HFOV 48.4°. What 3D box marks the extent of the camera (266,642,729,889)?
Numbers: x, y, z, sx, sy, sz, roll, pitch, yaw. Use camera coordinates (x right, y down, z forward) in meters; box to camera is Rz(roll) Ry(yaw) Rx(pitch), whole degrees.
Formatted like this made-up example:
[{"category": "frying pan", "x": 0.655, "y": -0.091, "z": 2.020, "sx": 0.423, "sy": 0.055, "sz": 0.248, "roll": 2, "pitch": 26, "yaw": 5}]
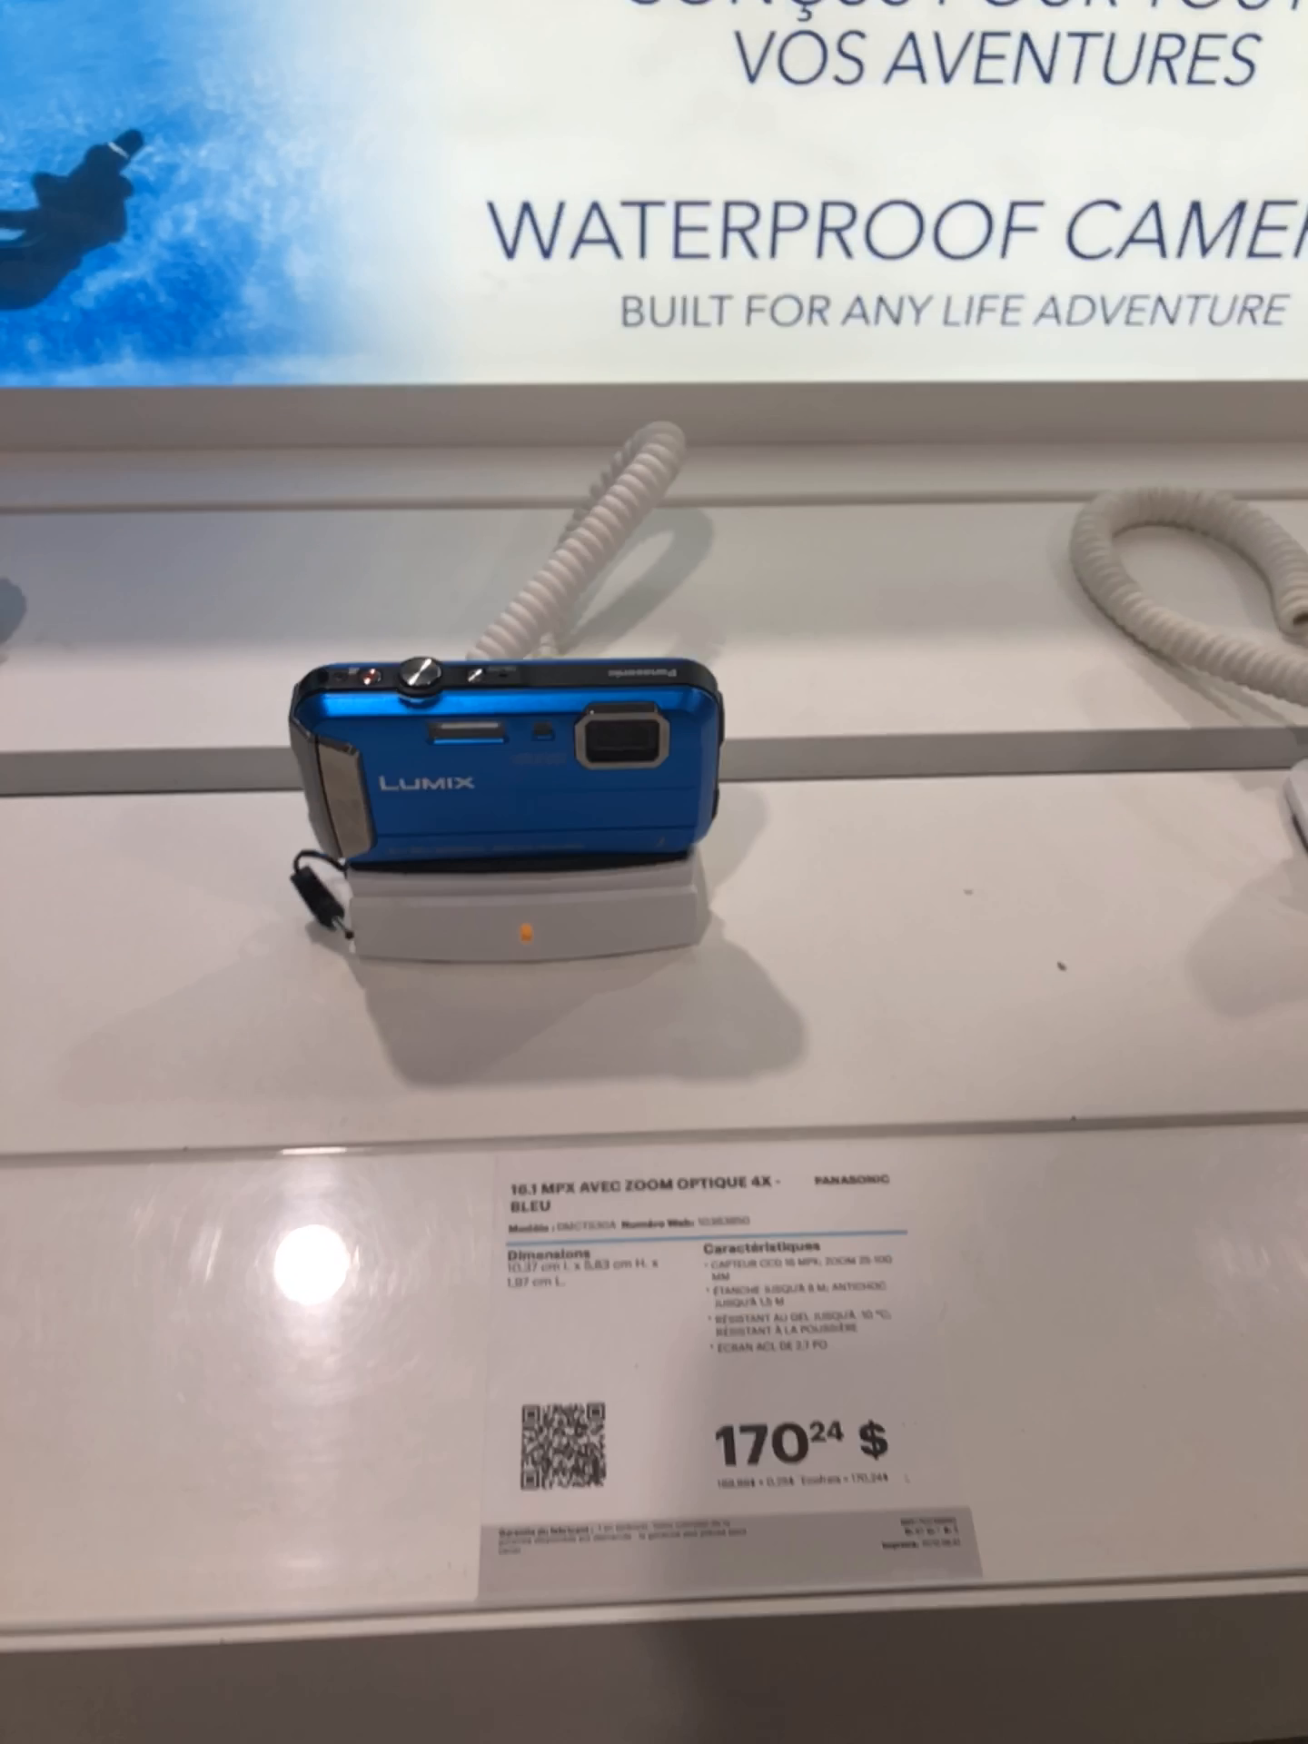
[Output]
[{"category": "camera", "x": -0.036, "y": -0.026, "z": 0.362, "sx": 0.106, "sy": 0.060, "sz": 0.020, "roll": -2, "pitch": 46, "yaw": -3}]
